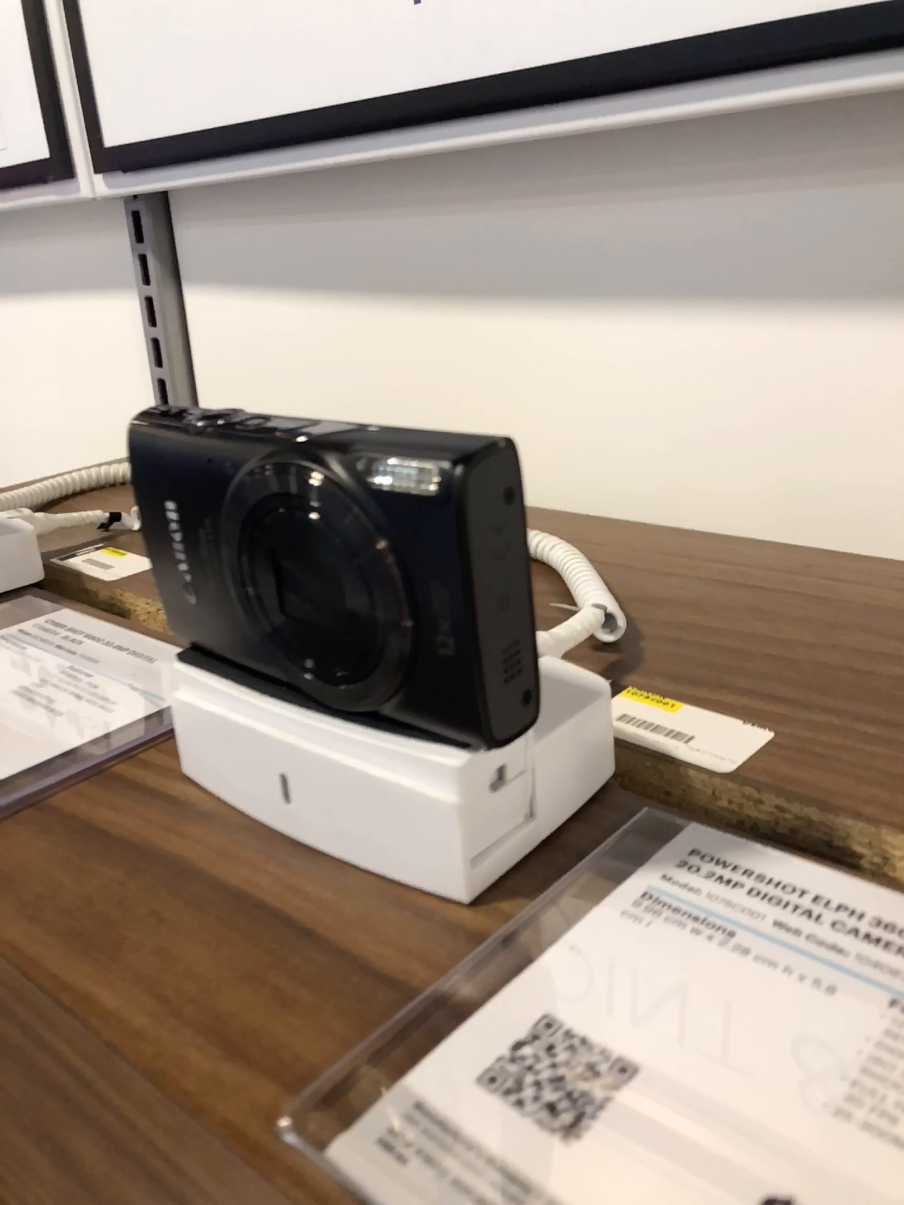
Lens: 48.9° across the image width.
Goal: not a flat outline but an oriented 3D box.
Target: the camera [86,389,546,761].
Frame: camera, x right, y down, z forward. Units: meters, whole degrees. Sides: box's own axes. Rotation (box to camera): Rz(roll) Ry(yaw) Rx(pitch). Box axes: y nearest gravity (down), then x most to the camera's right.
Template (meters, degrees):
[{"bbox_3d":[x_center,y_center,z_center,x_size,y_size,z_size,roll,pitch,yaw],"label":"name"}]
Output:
[{"bbox_3d":[-0.031,-0.012,0.207,0.100,0.056,0.030,13,25,38],"label":"camera"}]
